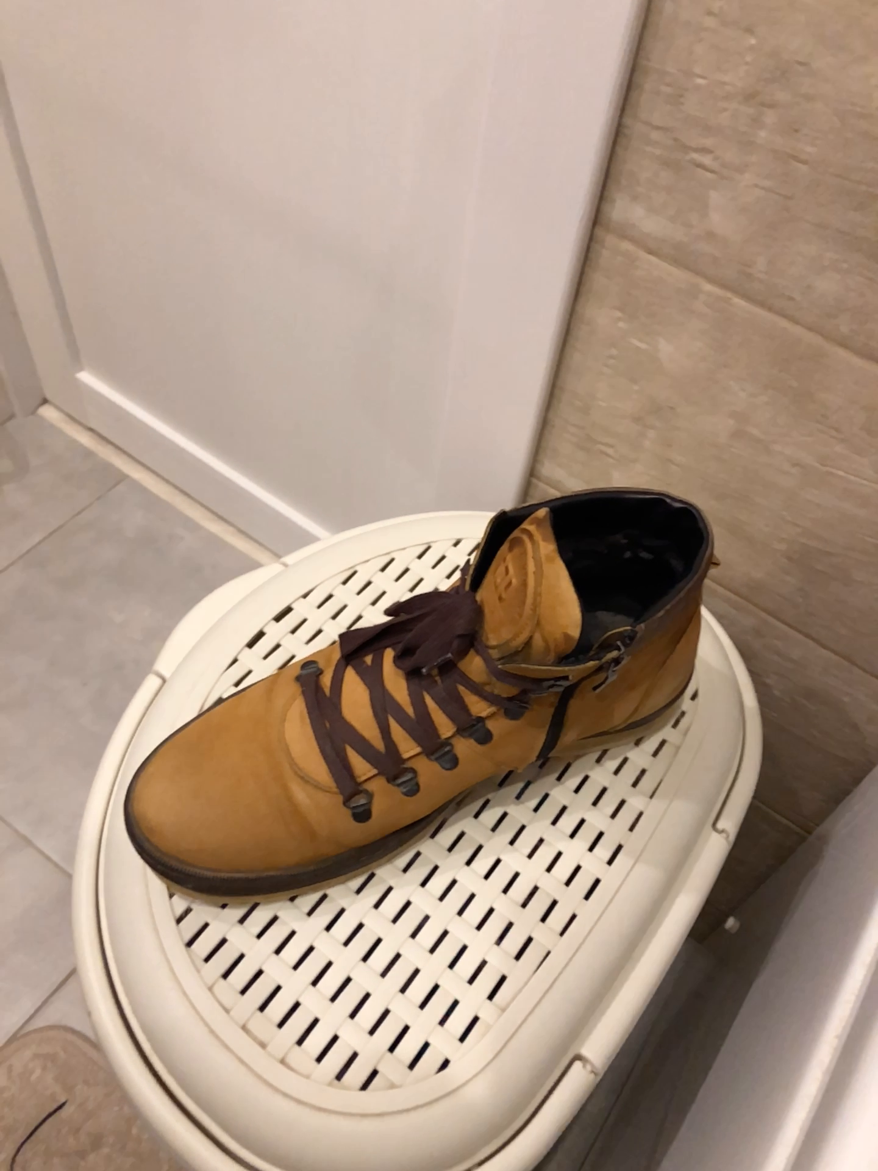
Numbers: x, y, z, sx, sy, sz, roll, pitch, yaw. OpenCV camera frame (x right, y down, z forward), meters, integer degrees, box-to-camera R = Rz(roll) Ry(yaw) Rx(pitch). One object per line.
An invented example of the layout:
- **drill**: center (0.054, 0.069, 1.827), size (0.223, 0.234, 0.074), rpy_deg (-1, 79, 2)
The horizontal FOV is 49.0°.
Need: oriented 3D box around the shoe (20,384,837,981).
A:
- **shoe**: center (-0.004, 0.042, 0.433), size (0.291, 0.169, 0.111), rpy_deg (-18, 58, -18)
